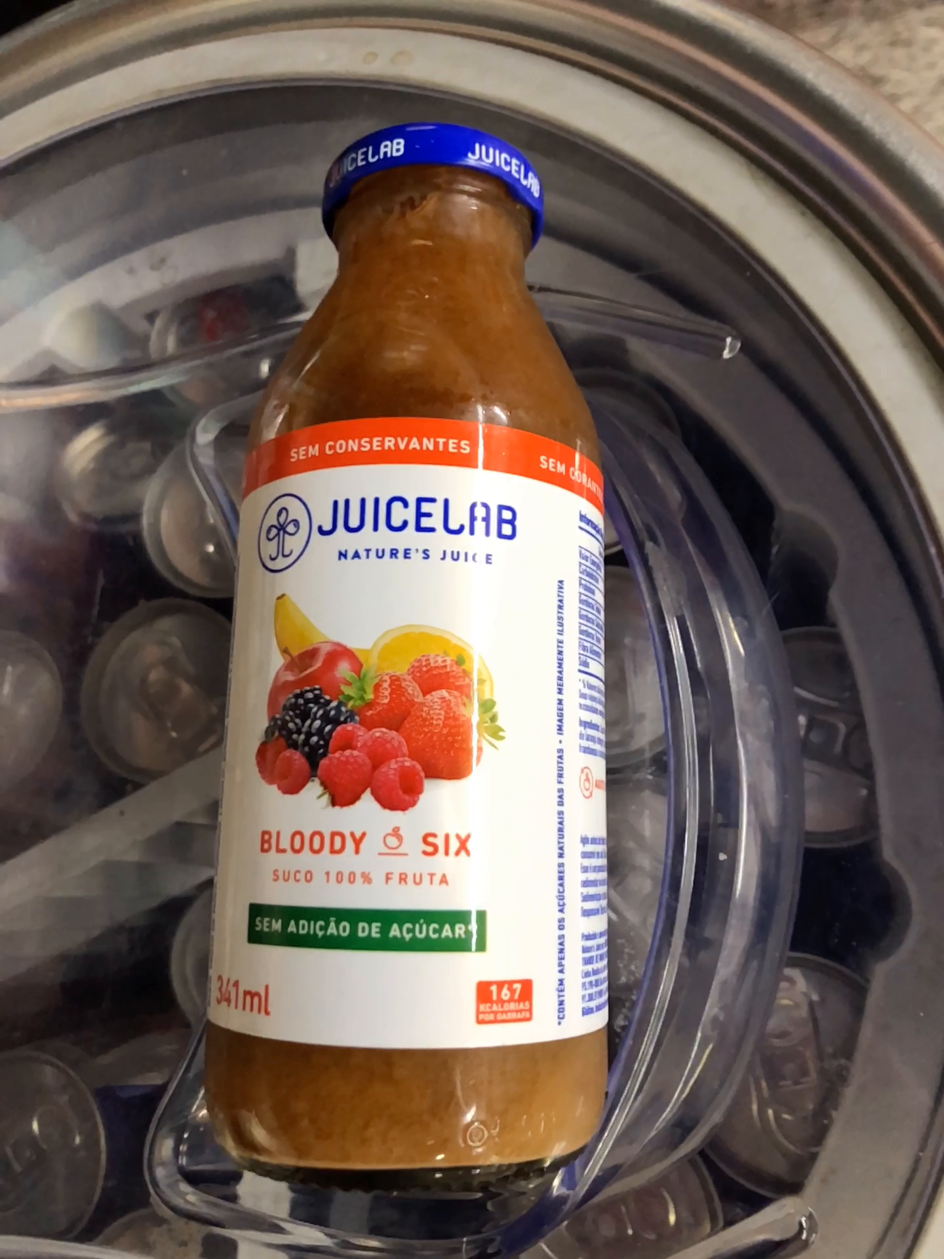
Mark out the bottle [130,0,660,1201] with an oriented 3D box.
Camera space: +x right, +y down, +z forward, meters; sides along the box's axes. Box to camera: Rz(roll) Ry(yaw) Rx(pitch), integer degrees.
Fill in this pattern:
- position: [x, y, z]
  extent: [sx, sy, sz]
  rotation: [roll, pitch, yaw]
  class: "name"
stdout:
- position: [-0.007, -0.012, 0.191]
  extent: [0.070, 0.060, 0.190]
  rotation: [0, 76, 4]
  class: "bottle"
